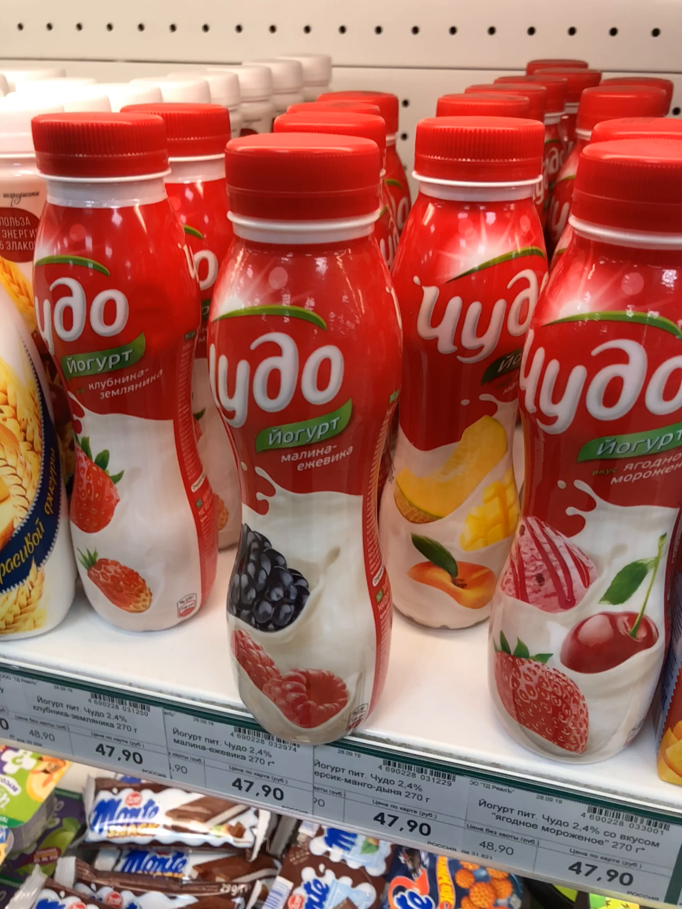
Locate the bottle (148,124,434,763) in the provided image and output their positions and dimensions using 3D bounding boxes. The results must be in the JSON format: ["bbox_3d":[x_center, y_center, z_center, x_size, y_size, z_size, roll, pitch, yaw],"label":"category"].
[{"bbox_3d":[-0.010,0.003,0.228,0.054,0.181,0.050,0,29,0],"label":"bottle"}]

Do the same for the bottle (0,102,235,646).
[{"bbox_3d":[-0.078,-0.023,0.270,0.054,0.181,0.050,0,29,0],"label":"bottle"}]

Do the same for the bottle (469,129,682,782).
[{"bbox_3d":[0.075,0.007,0.221,0.054,0.181,0.050,0,29,0],"label":"bottle"}]
